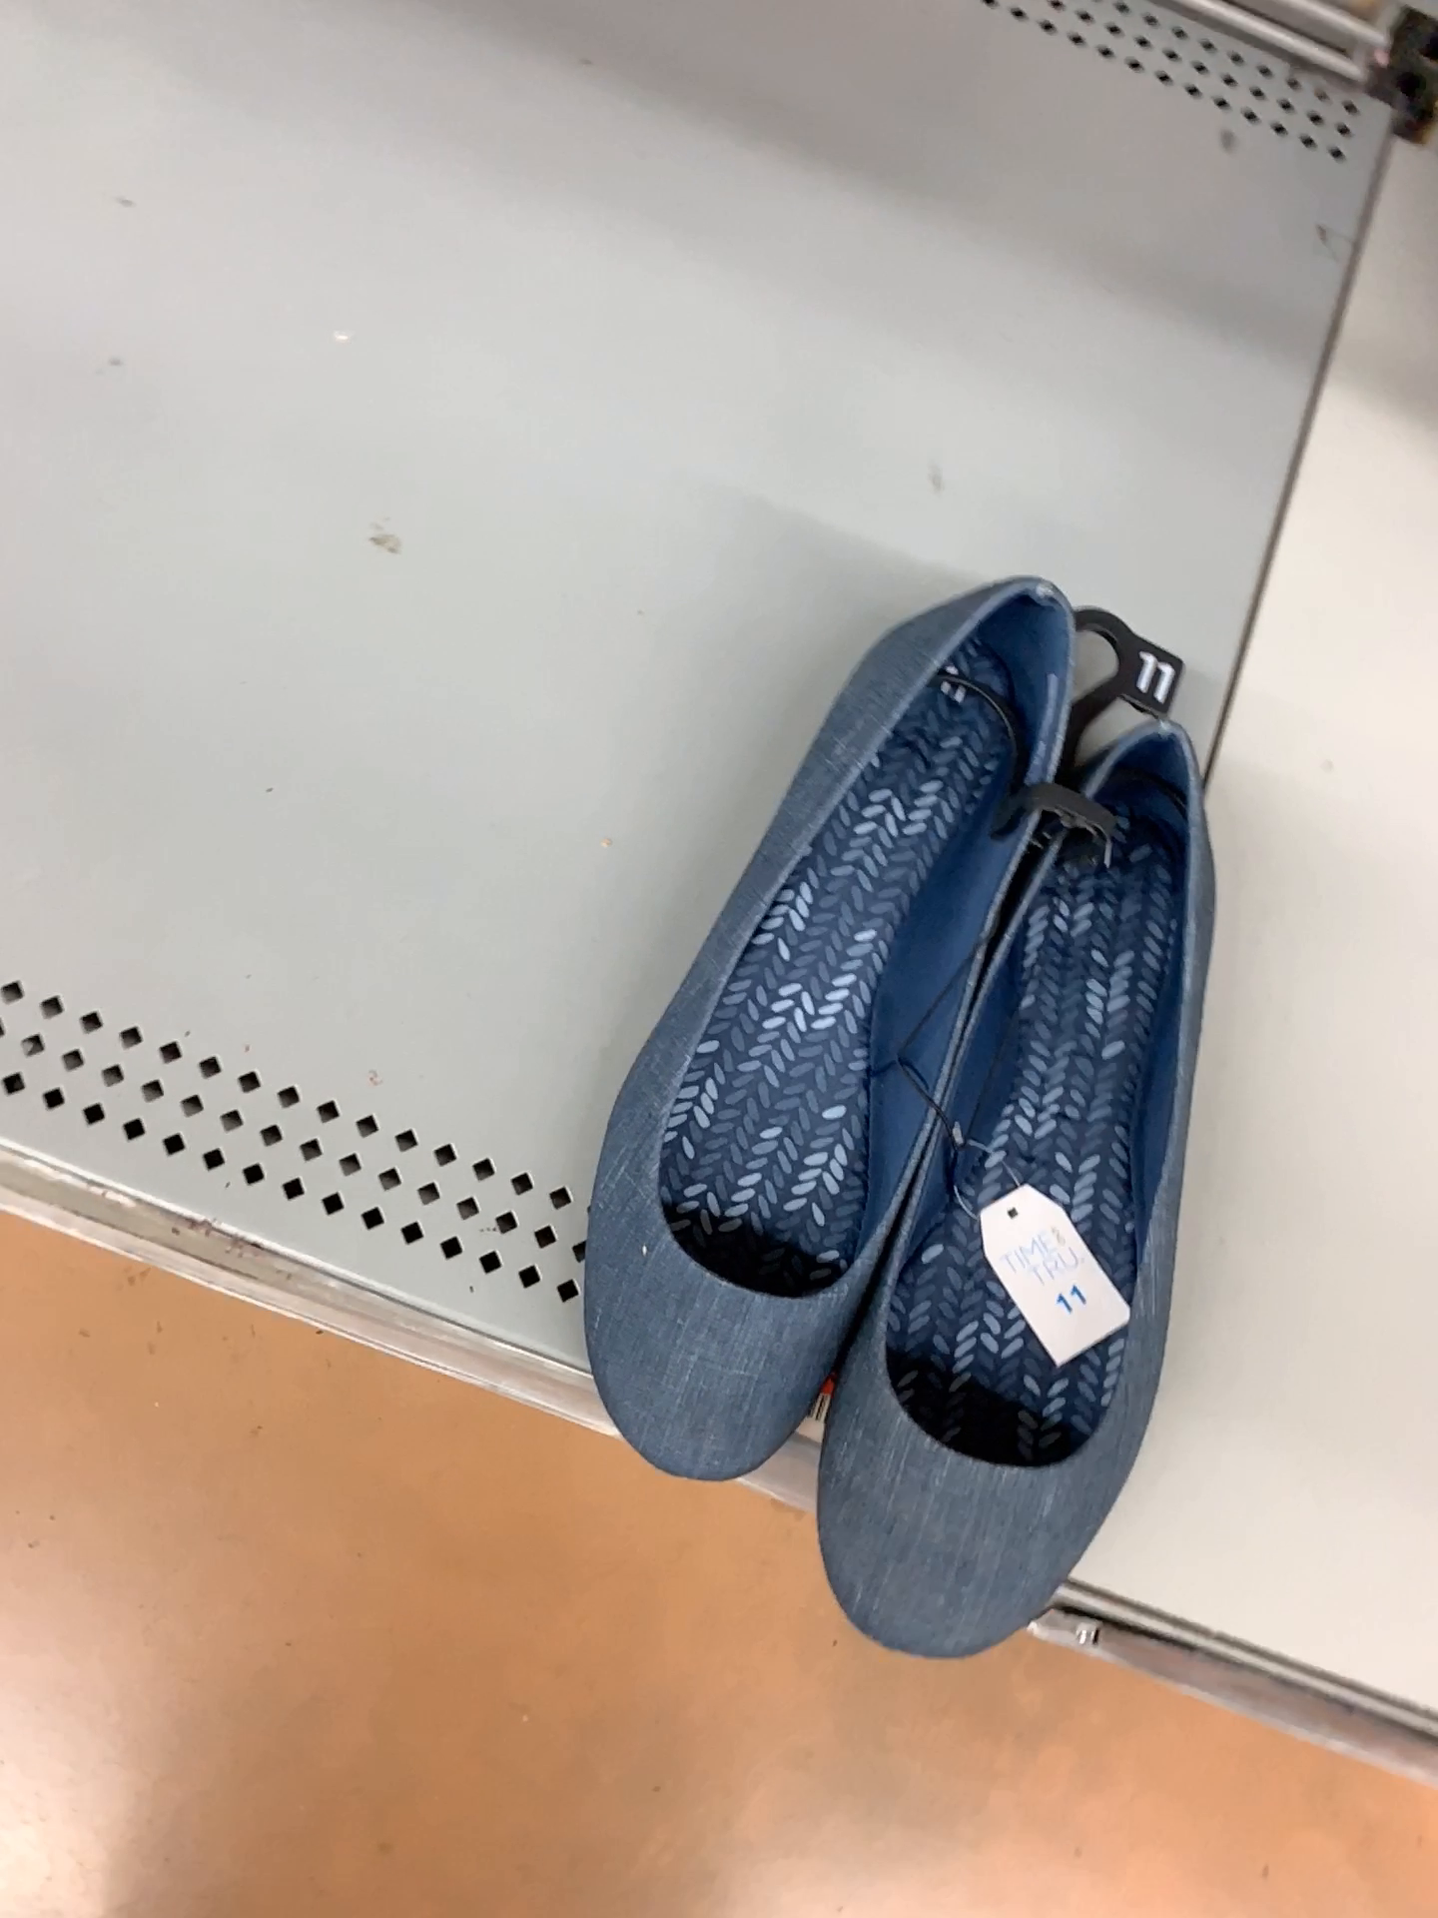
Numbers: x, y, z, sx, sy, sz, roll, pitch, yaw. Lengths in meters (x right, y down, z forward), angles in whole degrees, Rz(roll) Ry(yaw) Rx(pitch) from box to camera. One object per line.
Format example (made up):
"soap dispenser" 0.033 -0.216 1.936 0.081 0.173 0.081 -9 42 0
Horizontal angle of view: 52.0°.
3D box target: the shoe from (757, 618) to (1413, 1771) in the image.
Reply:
"shoe" 0.102 0.057 0.422 0.090 0.090 0.280 20 75 4

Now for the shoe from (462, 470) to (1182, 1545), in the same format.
"shoe" 0.032 0.010 0.434 0.090 0.090 0.280 24 75 2
